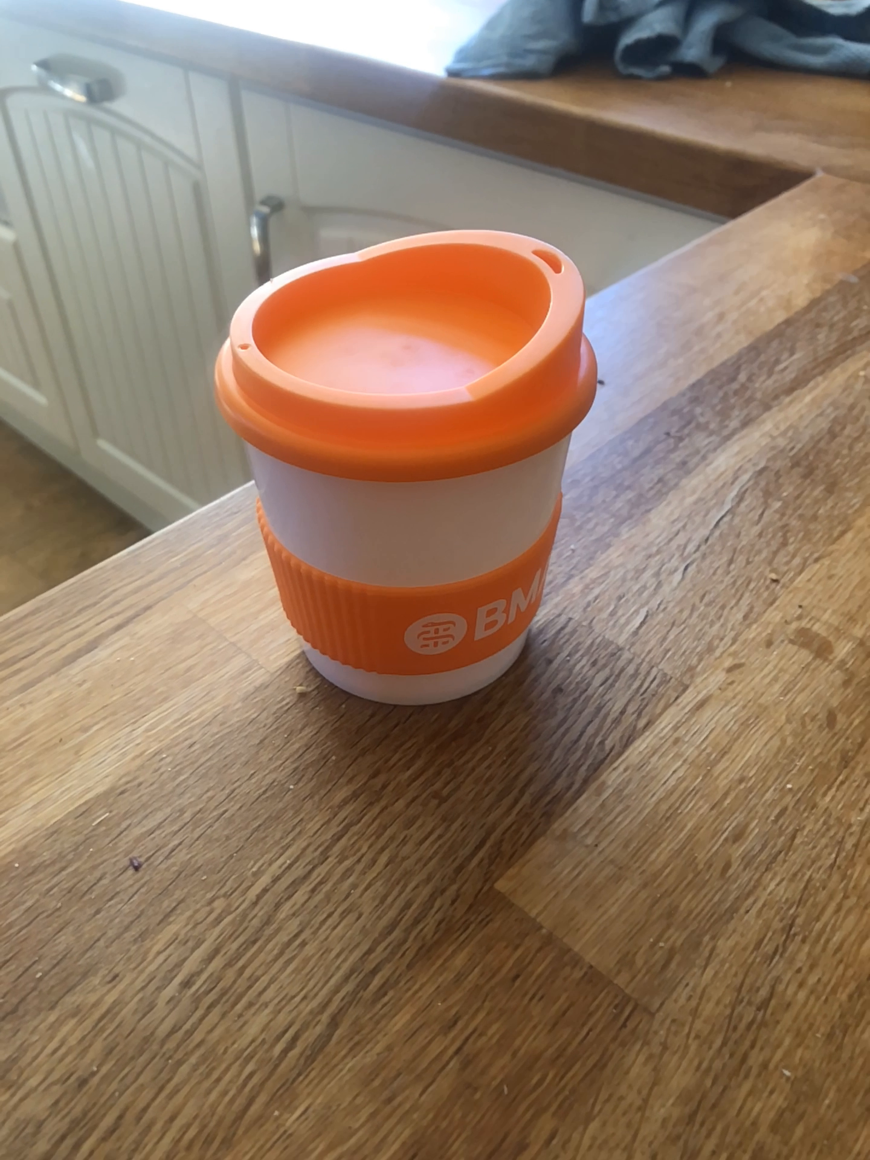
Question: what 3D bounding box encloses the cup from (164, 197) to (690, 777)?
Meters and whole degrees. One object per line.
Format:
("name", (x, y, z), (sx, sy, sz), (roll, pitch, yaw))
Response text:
("cup", (0.001, -0.027, 0.241), (0.080, 0.094, 0.086), (0, 40, 0))
